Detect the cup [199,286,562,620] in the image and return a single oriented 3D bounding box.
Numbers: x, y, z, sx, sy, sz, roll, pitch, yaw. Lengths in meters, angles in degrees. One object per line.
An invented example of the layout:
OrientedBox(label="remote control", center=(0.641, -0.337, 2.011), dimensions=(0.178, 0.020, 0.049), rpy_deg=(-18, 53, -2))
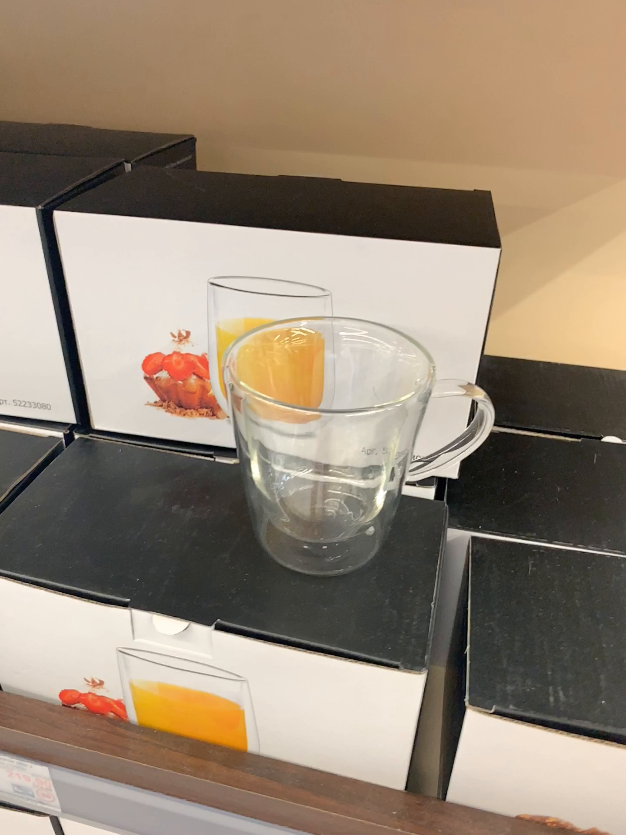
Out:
OrientedBox(label="cup", center=(0.020, 0.009, 0.256), dimensions=(0.110, 0.090, 0.070), rpy_deg=(-10, 35, -17))
